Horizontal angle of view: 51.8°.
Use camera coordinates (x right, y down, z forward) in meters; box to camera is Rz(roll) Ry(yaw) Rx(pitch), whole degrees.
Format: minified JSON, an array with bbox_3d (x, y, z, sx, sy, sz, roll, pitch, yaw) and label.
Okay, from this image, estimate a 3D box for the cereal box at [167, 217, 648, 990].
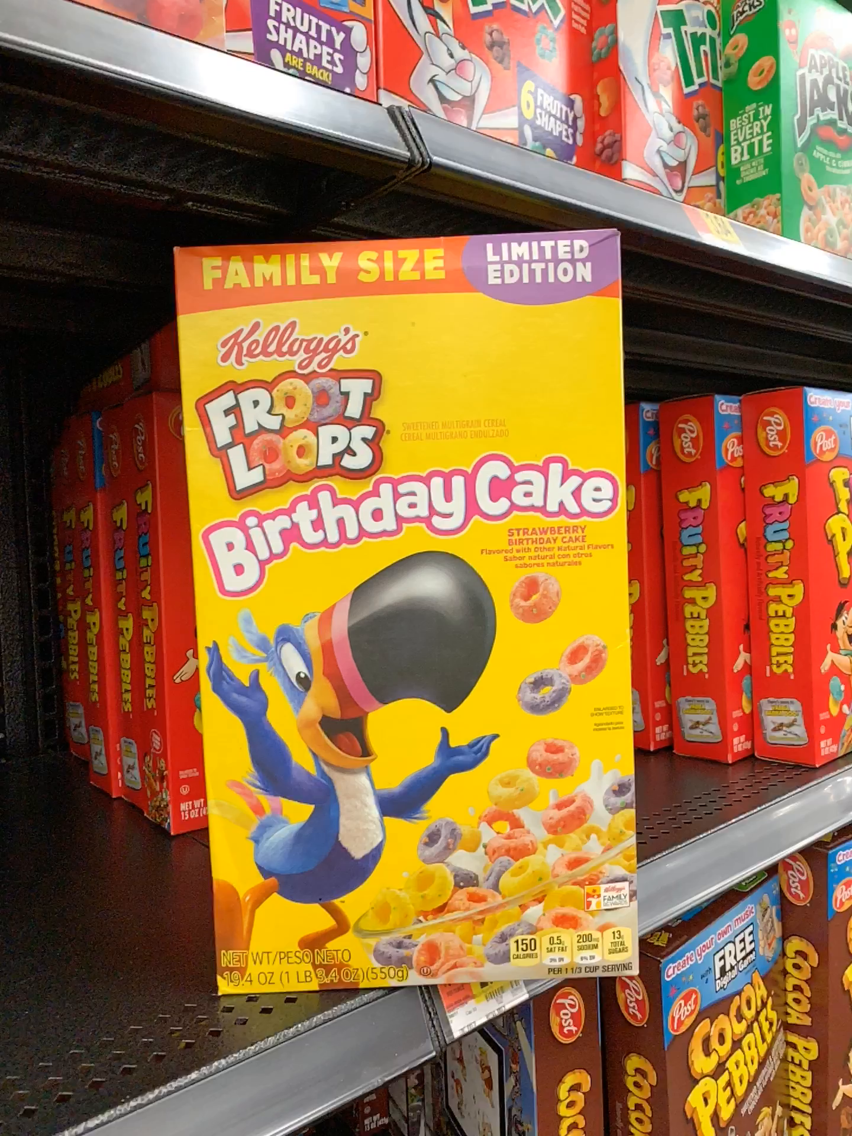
[{"bbox_3d":[-0.006,0.015,0.419,0.200,0.330,0.080,-1,3,-2],"label":"cereal box"}]
